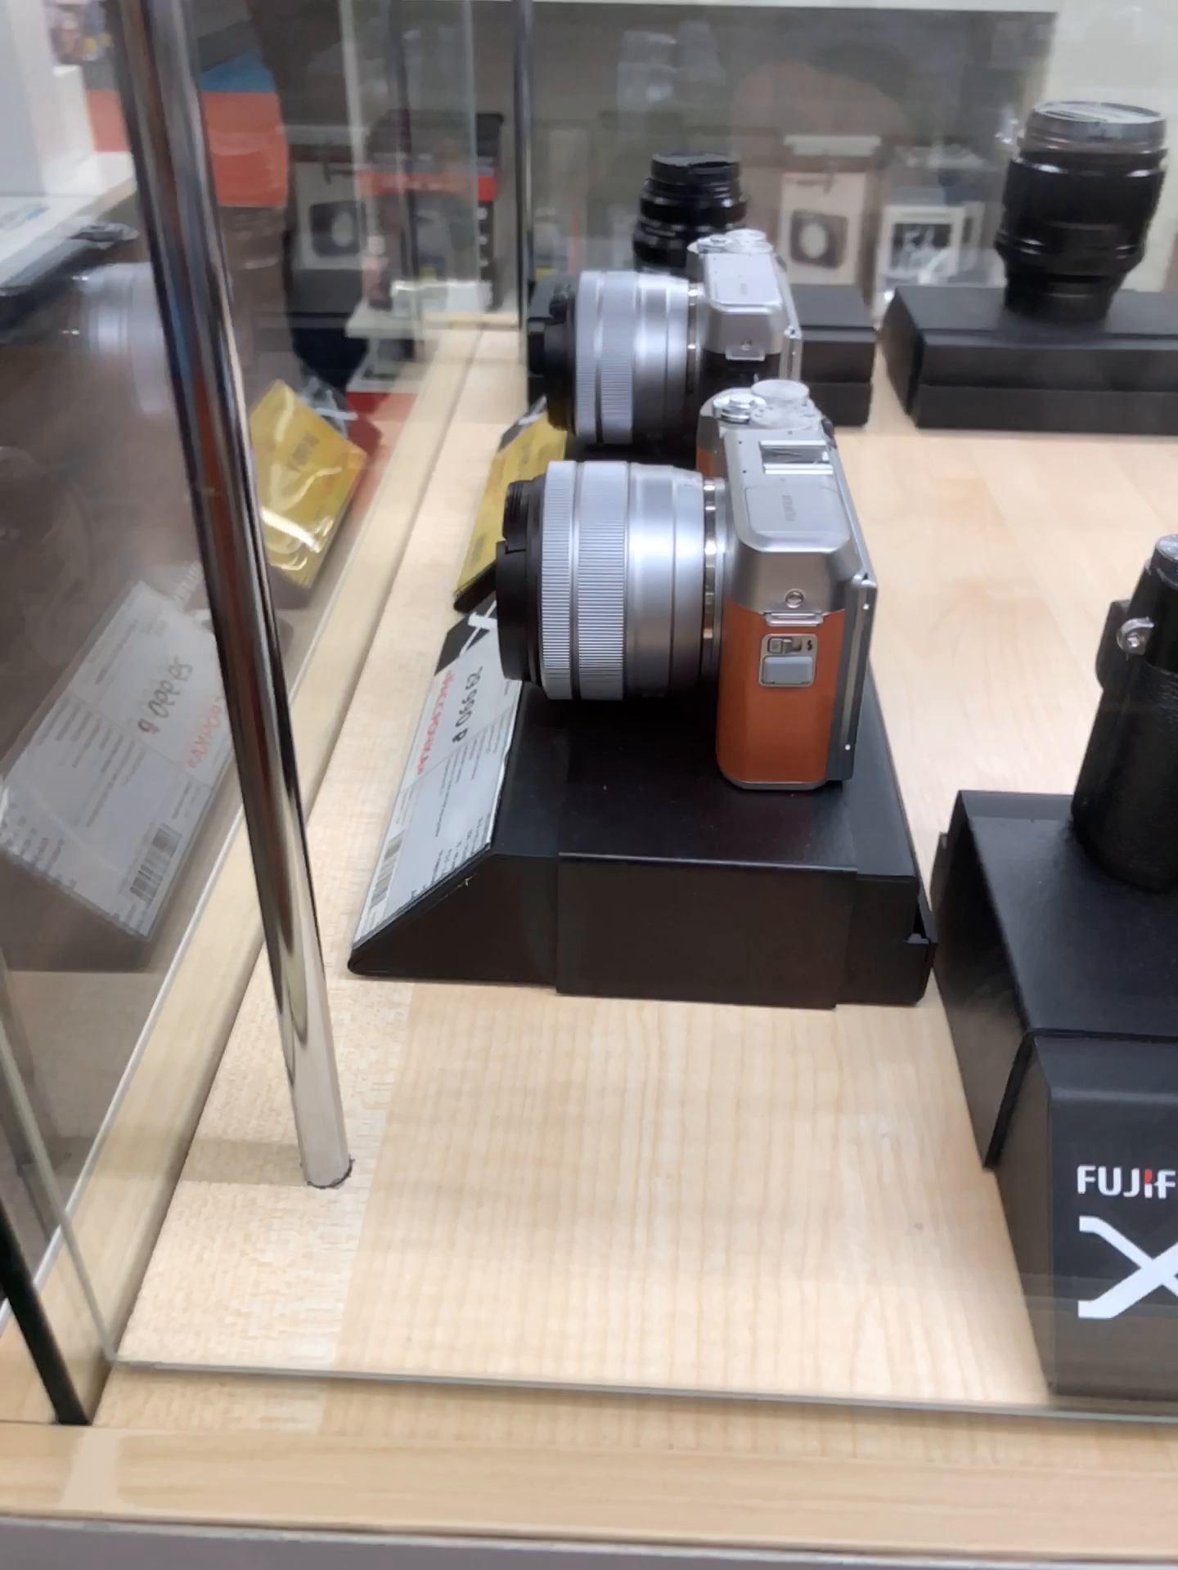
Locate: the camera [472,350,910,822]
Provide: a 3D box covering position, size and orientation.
[{"bbox_3d":[0.023,-0.058,0.347,0.092,0.075,0.122,2,35,1],"label":"camera"}]

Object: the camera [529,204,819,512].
[{"bbox_3d":[0.028,-0.163,0.487,0.092,0.075,0.122,2,35,1],"label":"camera"}]

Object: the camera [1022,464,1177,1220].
[{"bbox_3d":[0.172,0.005,0.252,0.131,0.090,0.113,2,35,1],"label":"camera"}]
